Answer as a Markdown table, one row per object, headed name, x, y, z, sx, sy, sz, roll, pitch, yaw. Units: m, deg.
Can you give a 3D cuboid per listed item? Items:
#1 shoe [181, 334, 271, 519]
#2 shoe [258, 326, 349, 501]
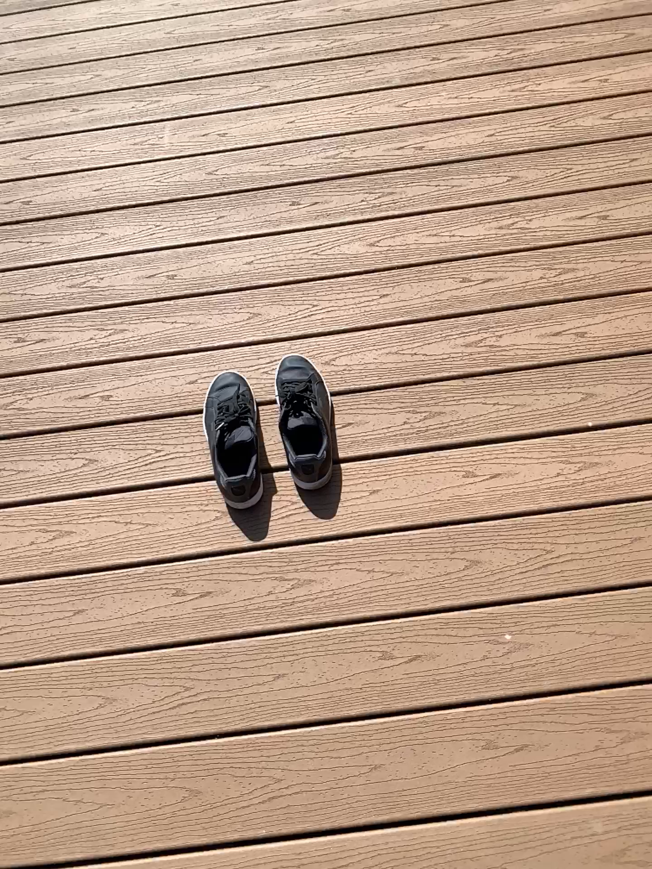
| name | x | y | z | sx | sy | sz | roll | pitch | yaw |
| --- | --- | --- | --- | --- | --- | --- | --- | --- | --- |
| shoe | -0.180 | -0.018 | 1.190 | 0.112 | 0.107 | 0.301 | -11 | 62 | 0 |
| shoe | -0.042 | -0.040 | 1.181 | 0.110 | 0.104 | 0.281 | -11 | 62 | 0 |
